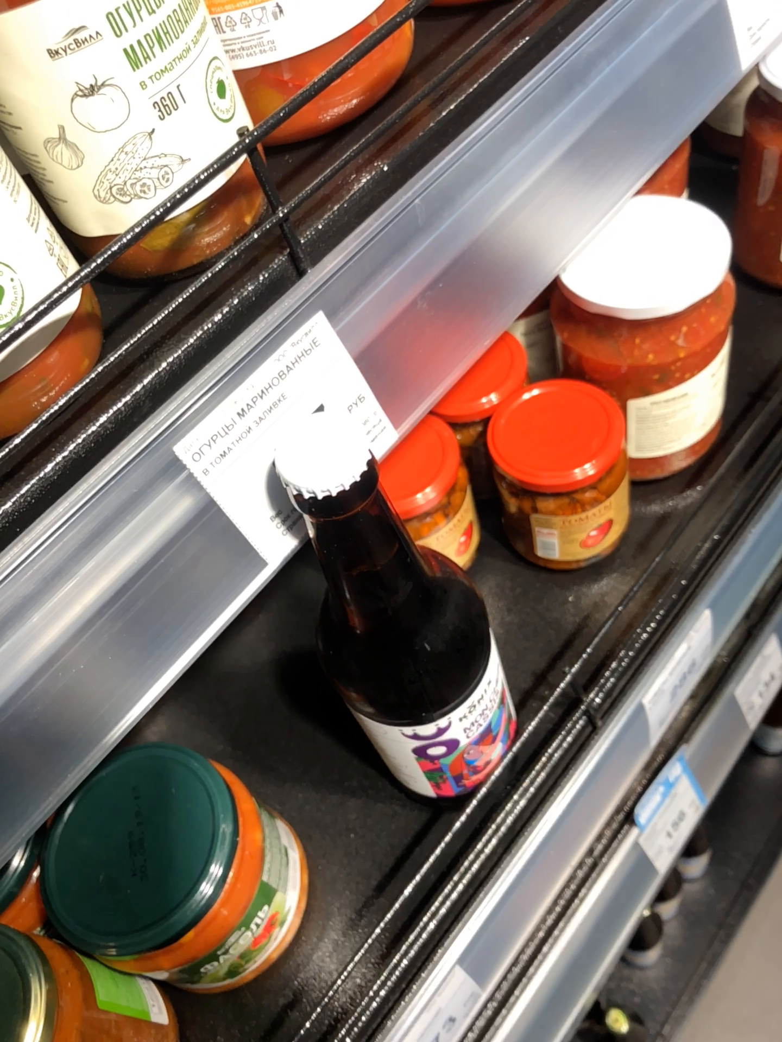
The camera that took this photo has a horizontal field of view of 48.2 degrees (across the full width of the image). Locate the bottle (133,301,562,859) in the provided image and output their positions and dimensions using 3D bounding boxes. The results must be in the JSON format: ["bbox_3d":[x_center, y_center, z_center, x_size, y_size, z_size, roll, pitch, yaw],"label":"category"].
[{"bbox_3d":[0.004,0.044,0.341,0.080,0.239,0.080,-7,55,10],"label":"bottle"}]
